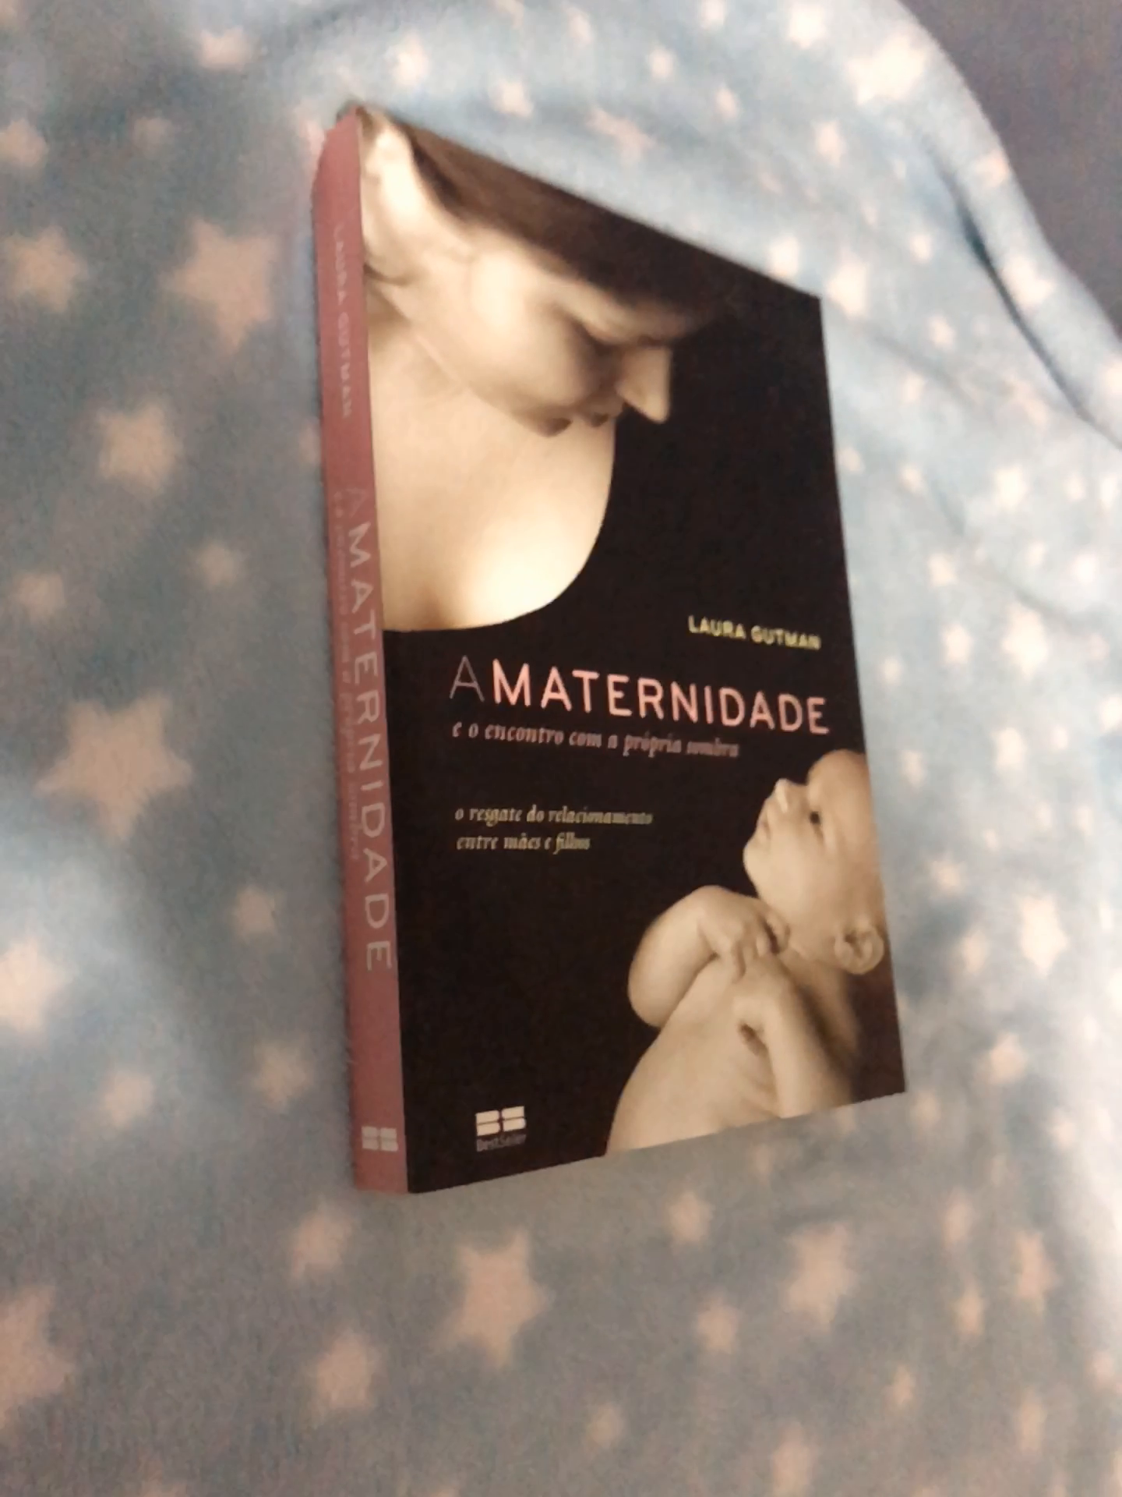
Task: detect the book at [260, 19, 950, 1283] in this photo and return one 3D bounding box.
[{"bbox_3d":[0.015,-0.022,0.291,0.161,0.030,0.240,4,76,-39],"label":"book"}]
